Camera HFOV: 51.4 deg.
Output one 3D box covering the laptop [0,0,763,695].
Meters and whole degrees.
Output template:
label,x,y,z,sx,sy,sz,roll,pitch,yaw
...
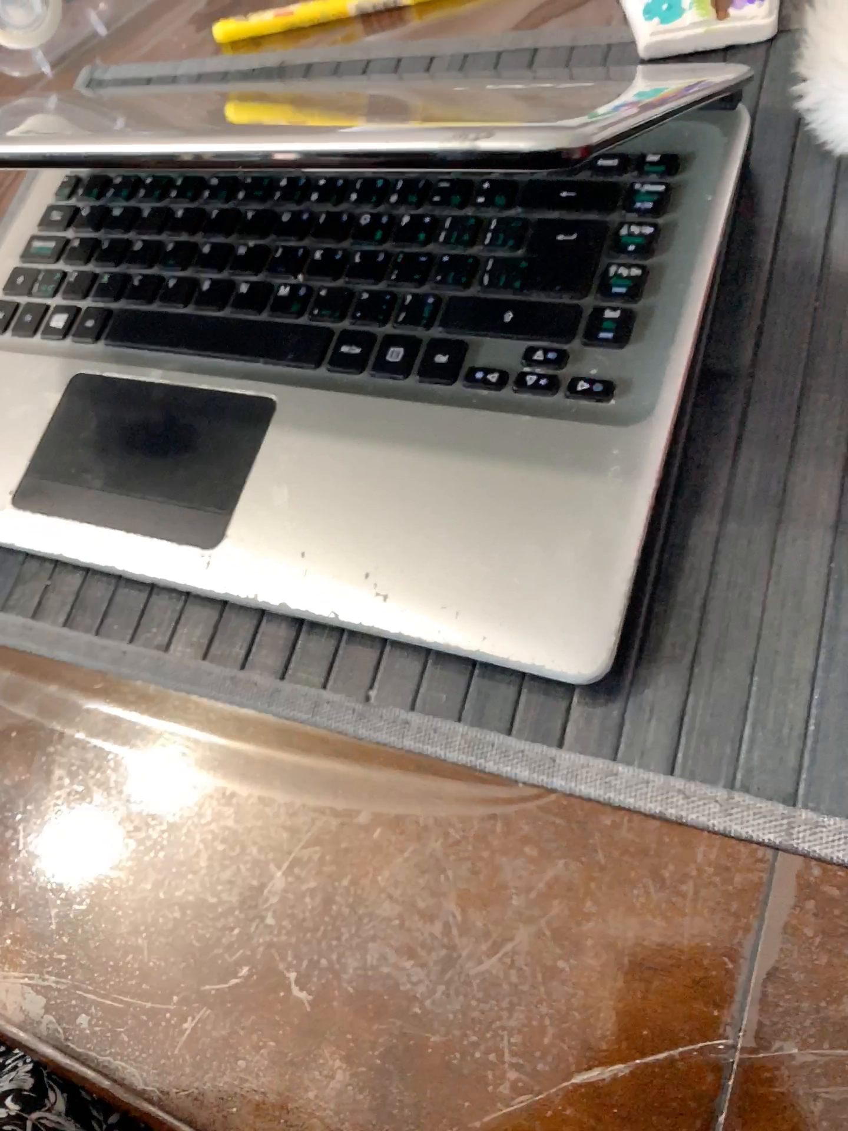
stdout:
label,x,y,z,sx,sy,sz,roll,pitch,yaw
laptop,-0.089,-0.128,0.305,0.345,0.145,0.236,11,71,23
